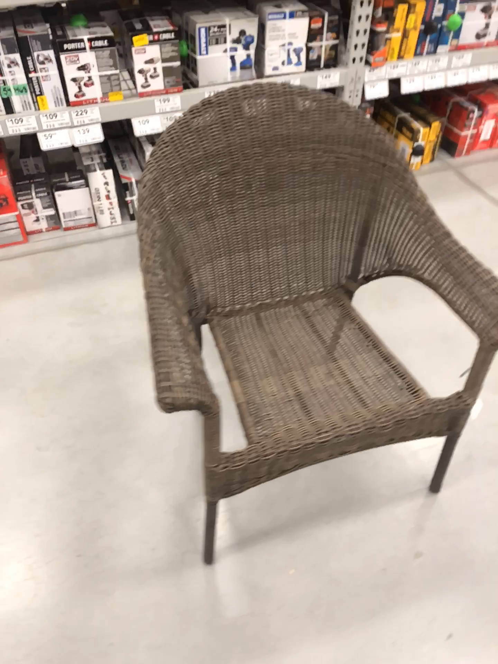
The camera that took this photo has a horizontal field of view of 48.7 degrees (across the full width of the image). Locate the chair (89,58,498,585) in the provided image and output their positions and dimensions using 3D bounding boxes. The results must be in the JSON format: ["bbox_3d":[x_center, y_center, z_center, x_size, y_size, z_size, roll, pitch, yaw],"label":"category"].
[{"bbox_3d":[0.115,-0.054,1.285,0.720,0.797,0.763,-13,46,-13],"label":"chair"}]
